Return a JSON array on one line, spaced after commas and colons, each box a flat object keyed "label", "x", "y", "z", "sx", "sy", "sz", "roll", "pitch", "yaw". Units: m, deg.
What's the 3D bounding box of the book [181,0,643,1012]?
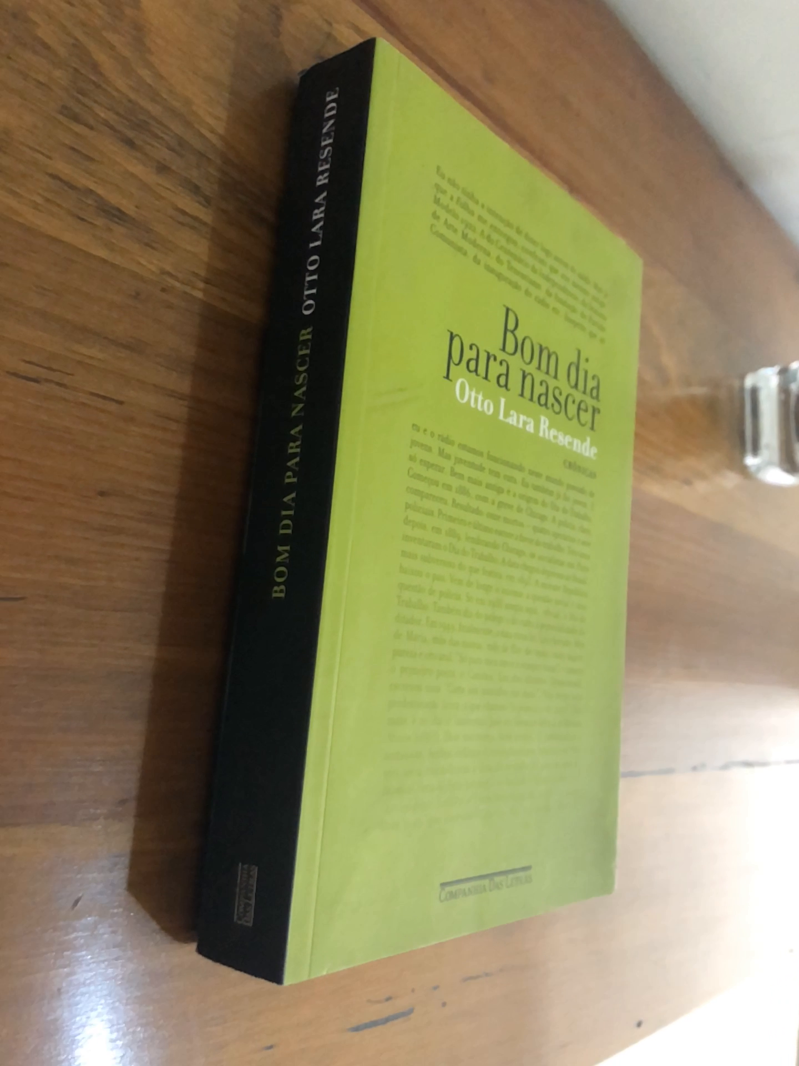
[{"label": "book", "x": 0.018, "y": -0.004, "z": 0.239, "sx": 0.137, "sy": 0.030, "sz": 0.208, "roll": 14, "pitch": 76, "yaw": -48}]
